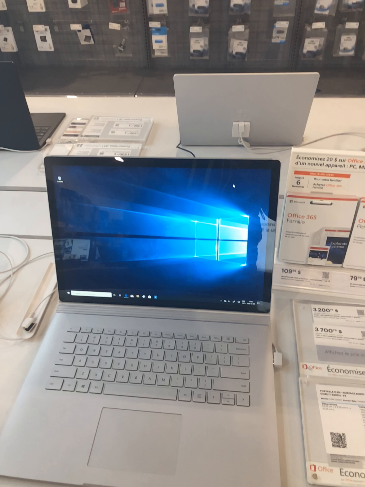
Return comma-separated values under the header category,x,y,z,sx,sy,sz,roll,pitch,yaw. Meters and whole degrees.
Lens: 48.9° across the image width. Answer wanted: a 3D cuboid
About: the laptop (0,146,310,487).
category,x,y,z,sx,sy,sz,roll,pitch,yaw
laptop,-0.050,0.070,0.520,0.338,0.207,0.366,2,44,6
